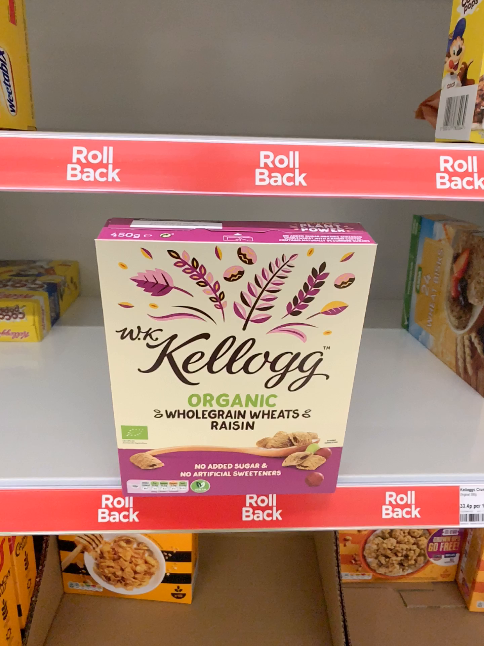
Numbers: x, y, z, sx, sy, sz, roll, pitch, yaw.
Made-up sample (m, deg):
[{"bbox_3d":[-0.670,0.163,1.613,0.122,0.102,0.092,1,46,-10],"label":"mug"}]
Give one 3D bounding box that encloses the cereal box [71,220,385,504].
[{"bbox_3d":[-0.010,0.036,0.393,0.200,0.218,0.061,-1,26,-3],"label":"cereal box"}]
